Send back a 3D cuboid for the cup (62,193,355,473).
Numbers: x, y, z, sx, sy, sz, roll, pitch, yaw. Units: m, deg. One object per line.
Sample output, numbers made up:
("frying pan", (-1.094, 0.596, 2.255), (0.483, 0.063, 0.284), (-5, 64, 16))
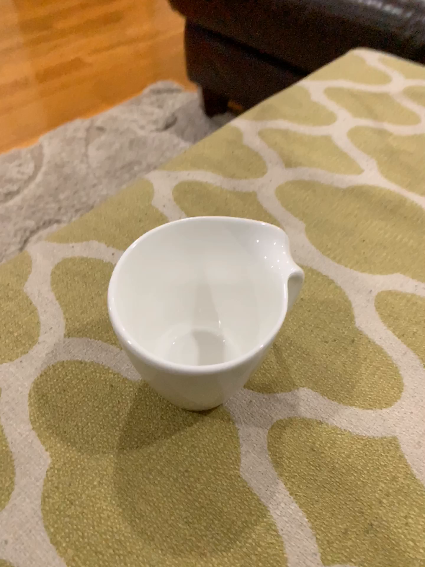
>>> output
("cup", (-0.007, 0.023, 0.232), (0.109, 0.079, 0.089), (-17, 53, -16))
